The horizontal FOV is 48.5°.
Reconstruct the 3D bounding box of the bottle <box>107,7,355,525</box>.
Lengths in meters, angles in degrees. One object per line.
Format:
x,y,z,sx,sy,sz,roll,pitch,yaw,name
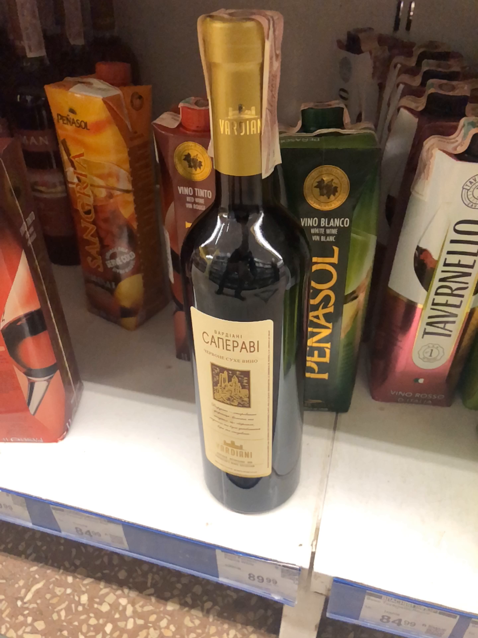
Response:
0.001,-0.005,0.296,0.080,0.281,0.070,11,39,14,bottle
